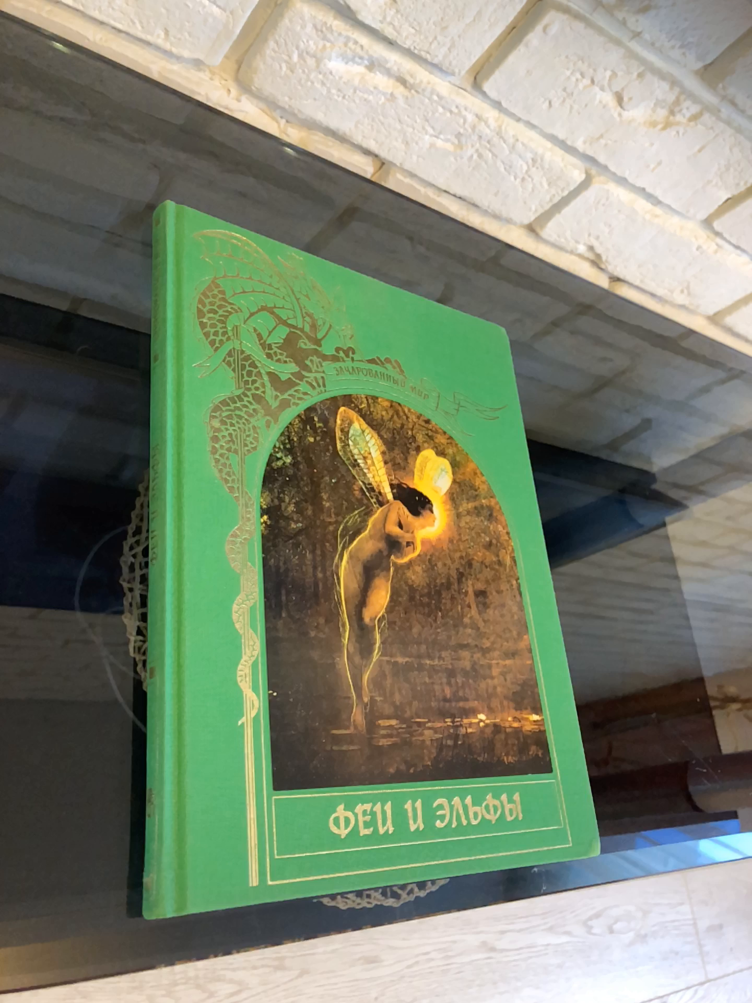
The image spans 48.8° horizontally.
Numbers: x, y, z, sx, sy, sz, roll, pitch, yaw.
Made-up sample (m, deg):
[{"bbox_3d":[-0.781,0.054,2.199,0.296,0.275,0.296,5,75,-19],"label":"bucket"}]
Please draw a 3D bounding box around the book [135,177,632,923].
[{"bbox_3d":[0.004,0.014,0.376,0.217,0.030,0.291,12,61,-35],"label":"book"}]
